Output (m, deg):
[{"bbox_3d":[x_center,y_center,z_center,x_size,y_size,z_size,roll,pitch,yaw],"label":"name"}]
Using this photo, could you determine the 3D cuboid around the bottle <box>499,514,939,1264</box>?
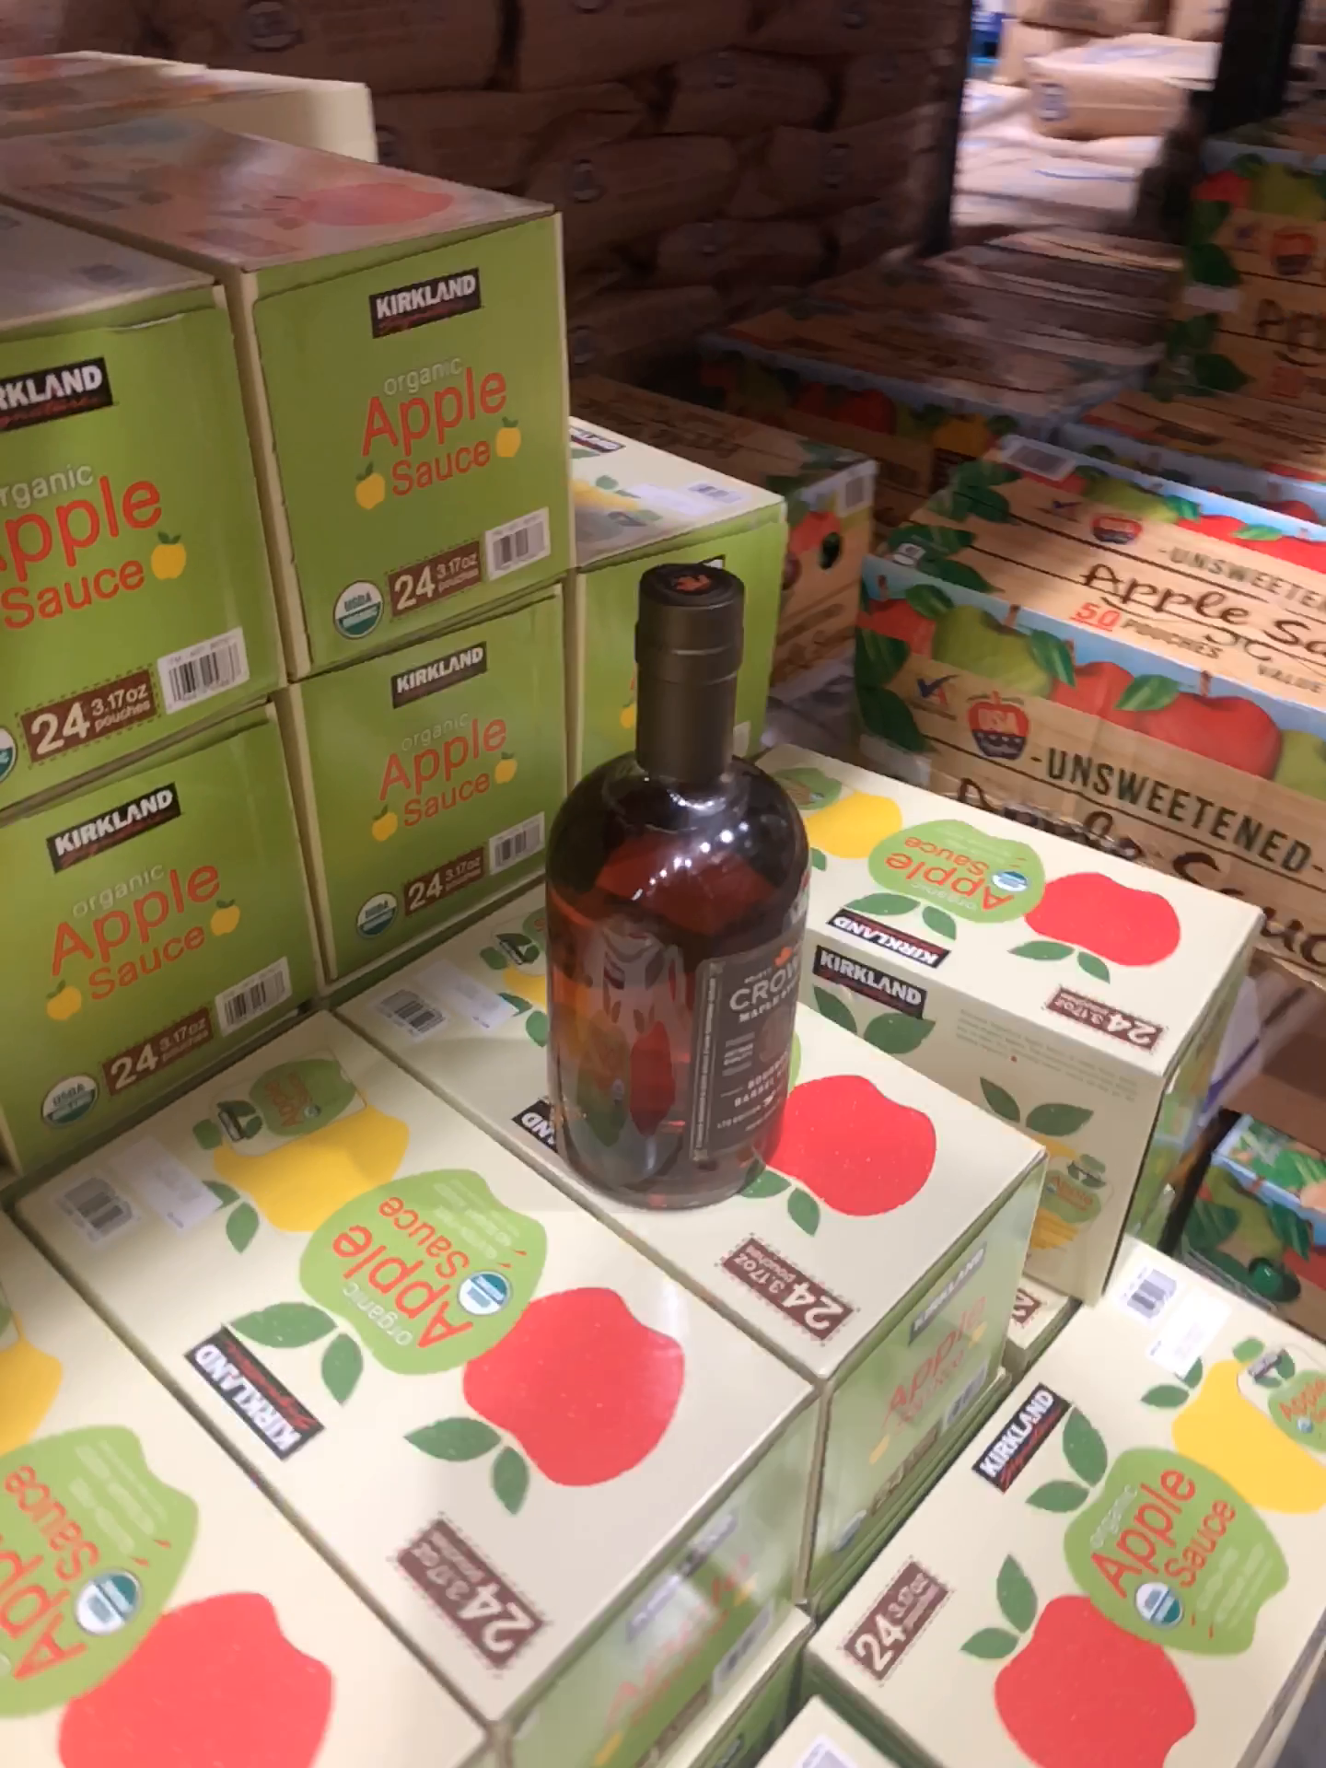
[{"bbox_3d":[0.017,0.004,0.499,0.090,0.219,0.100,25,42,30],"label":"bottle"}]
